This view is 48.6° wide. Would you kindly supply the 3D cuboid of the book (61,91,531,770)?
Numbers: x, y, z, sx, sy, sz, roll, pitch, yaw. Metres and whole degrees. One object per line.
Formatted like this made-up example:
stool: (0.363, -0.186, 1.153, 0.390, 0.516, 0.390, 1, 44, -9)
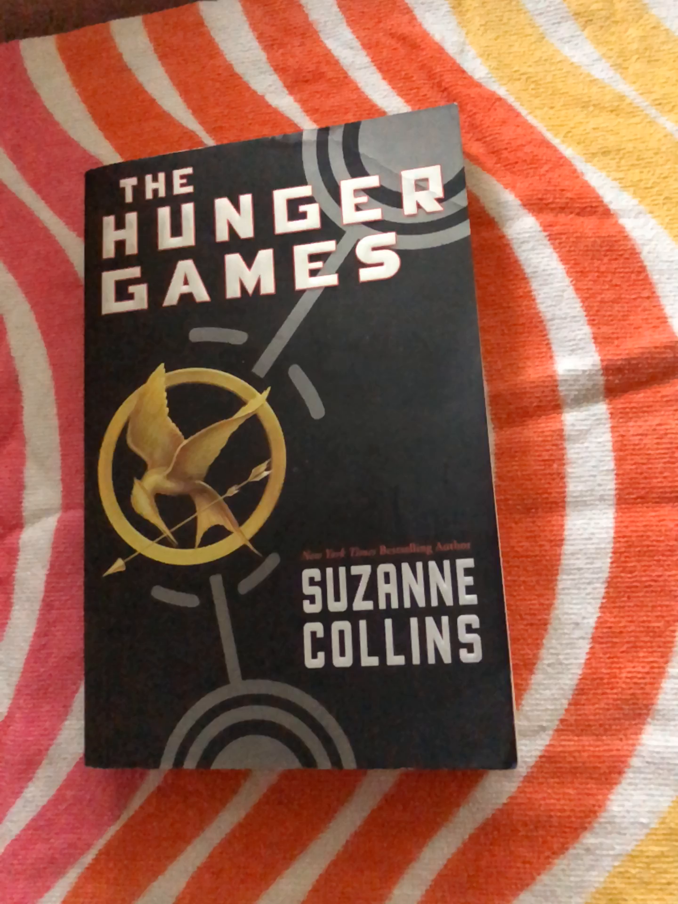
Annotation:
book: (-0.018, -0.006, 0.248, 0.138, 0.037, 0.200, -5, 80, 11)
